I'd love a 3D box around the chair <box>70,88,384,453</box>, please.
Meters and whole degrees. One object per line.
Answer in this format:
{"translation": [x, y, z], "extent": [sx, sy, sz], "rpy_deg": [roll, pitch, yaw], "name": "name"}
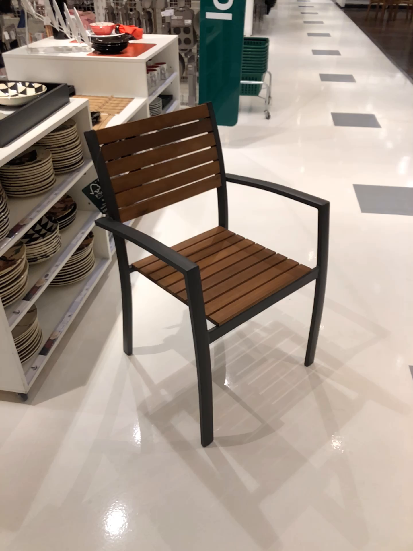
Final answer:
{"translation": [0.052, -0.055, 1.369], "extent": [0.592, 0.784, 0.532], "rpy_deg": [-27, 43, -33], "name": "chair"}
